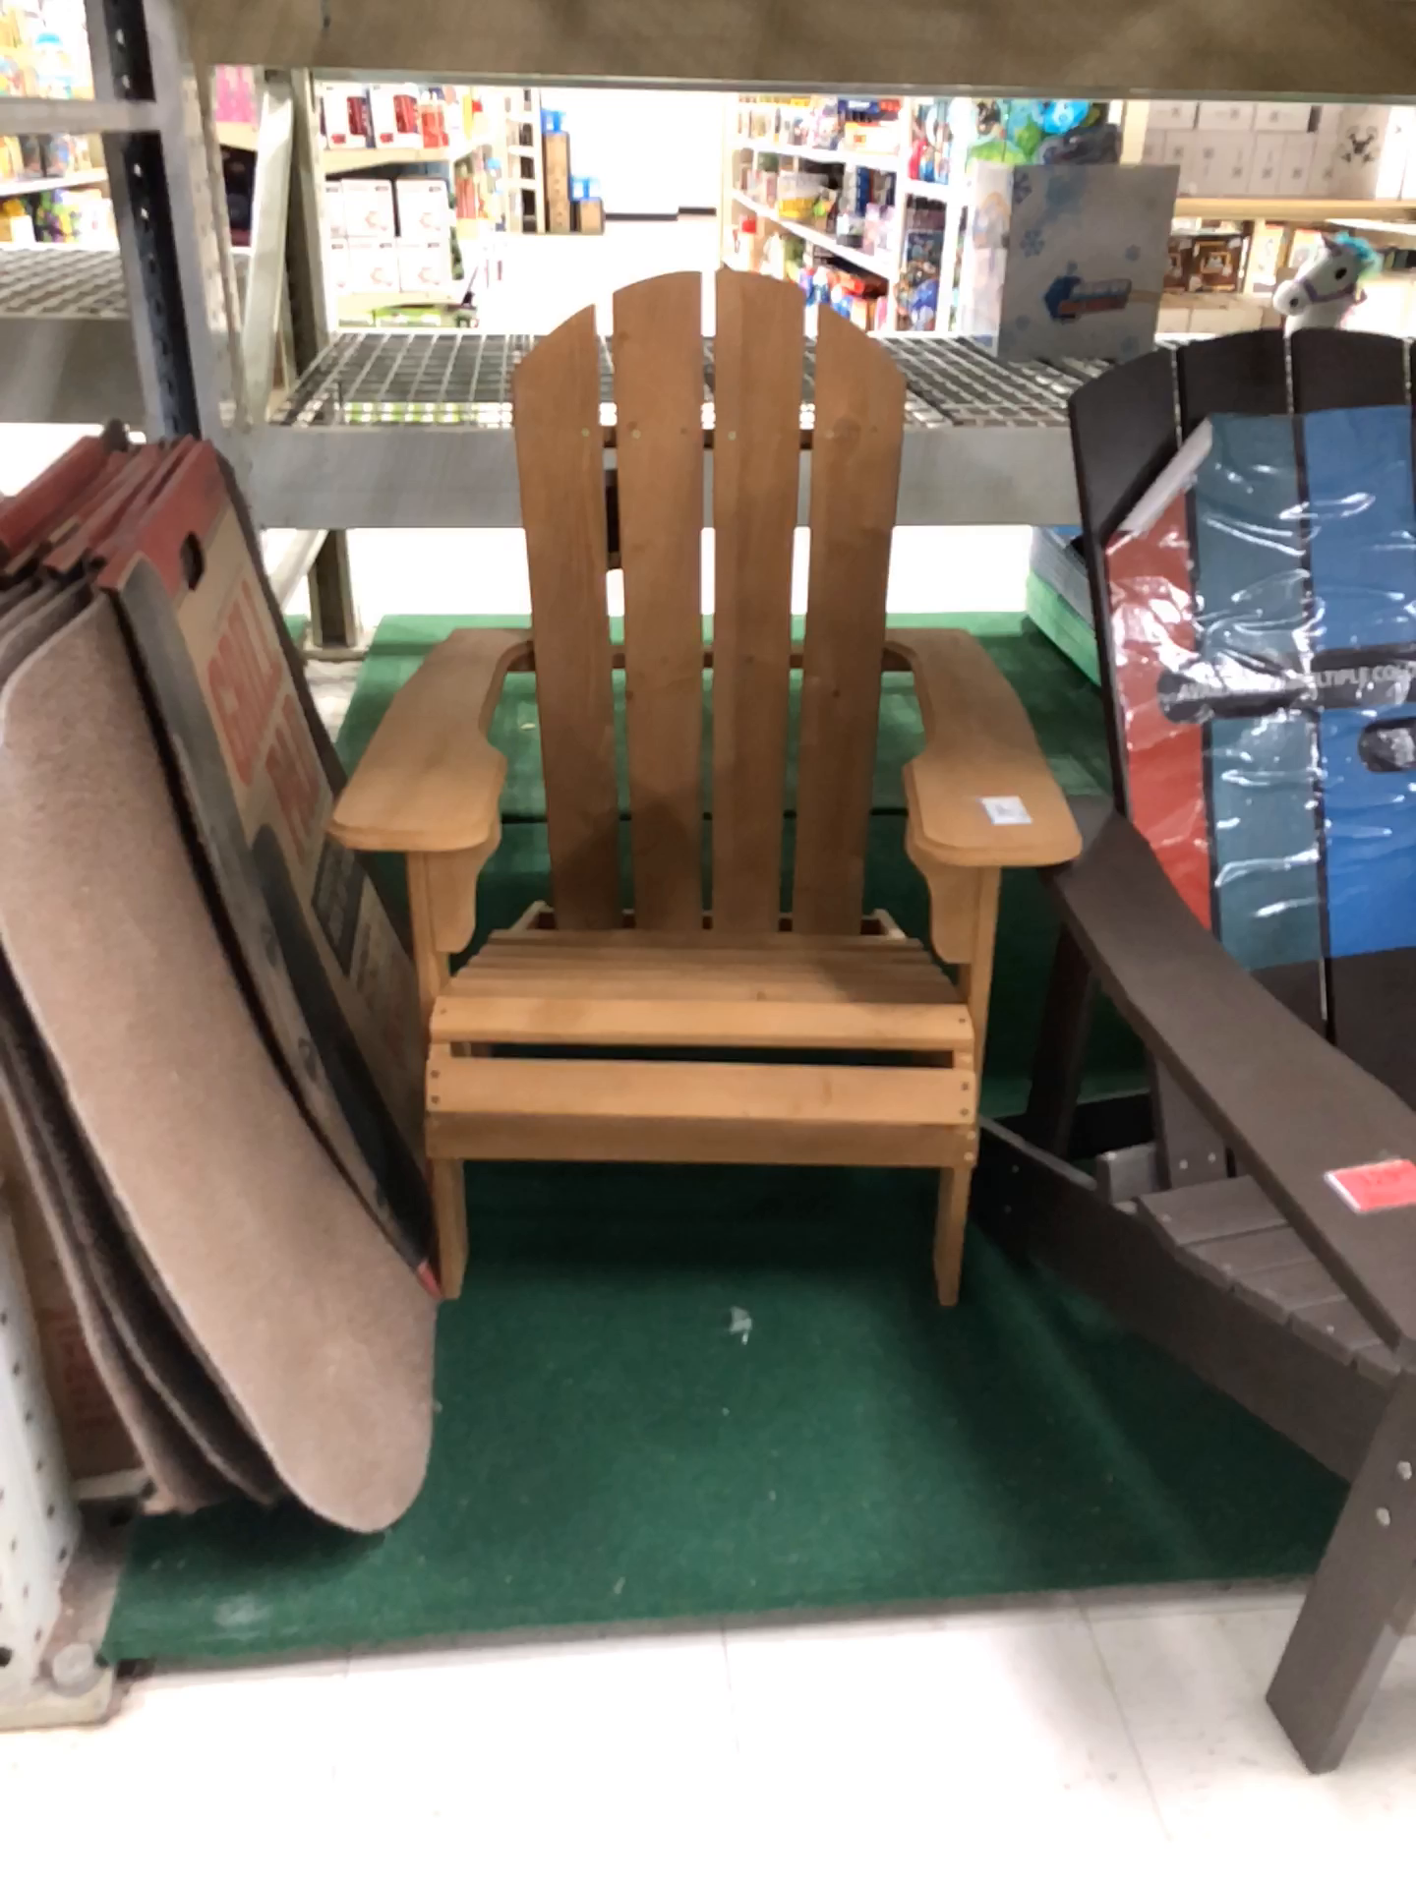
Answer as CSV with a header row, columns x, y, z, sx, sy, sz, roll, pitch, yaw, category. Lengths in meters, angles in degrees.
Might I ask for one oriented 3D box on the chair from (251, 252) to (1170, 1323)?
x,y,z,sx,sy,sz,roll,pitch,yaw,category
-0.001,-0.196,1.584,0.641,0.884,0.690,1,28,0,chair
